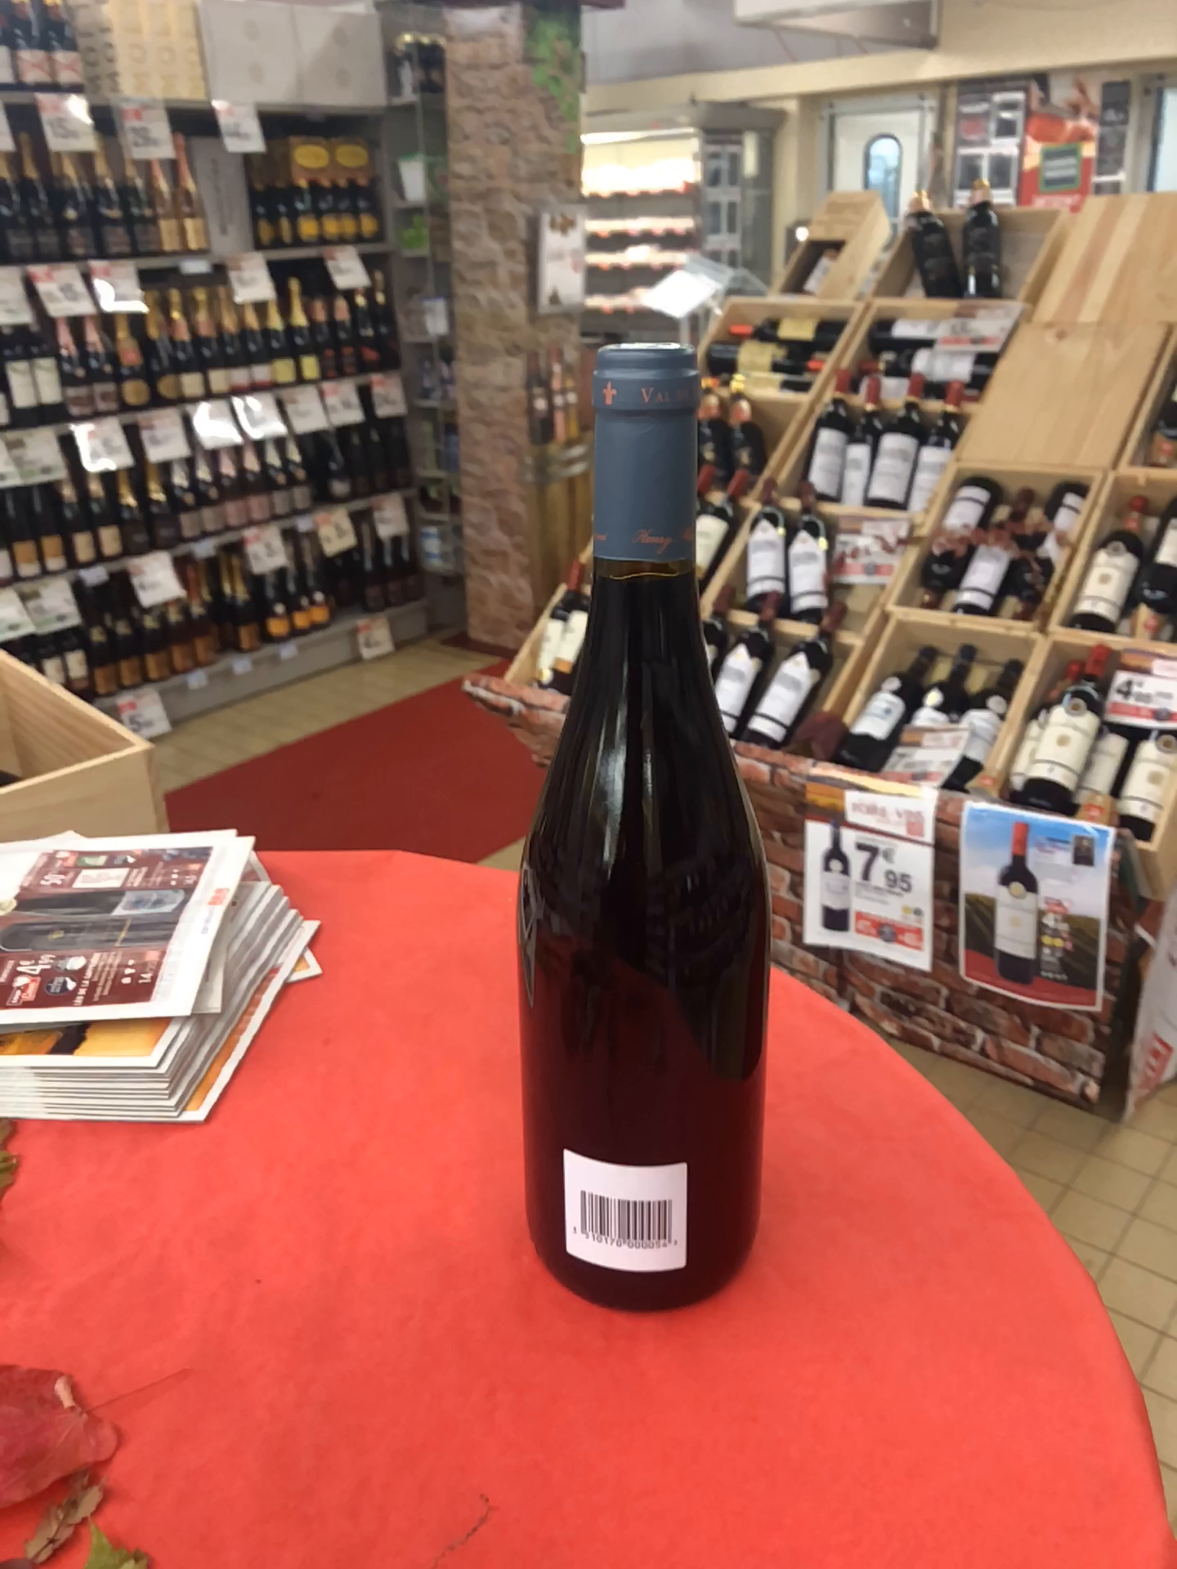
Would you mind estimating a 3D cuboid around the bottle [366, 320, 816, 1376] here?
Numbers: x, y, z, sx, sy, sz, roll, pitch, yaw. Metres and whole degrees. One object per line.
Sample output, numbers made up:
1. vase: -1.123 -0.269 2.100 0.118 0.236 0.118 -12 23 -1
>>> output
1. bottle: 0.011 0.021 0.380 0.090 0.288 0.091 -2 23 1
